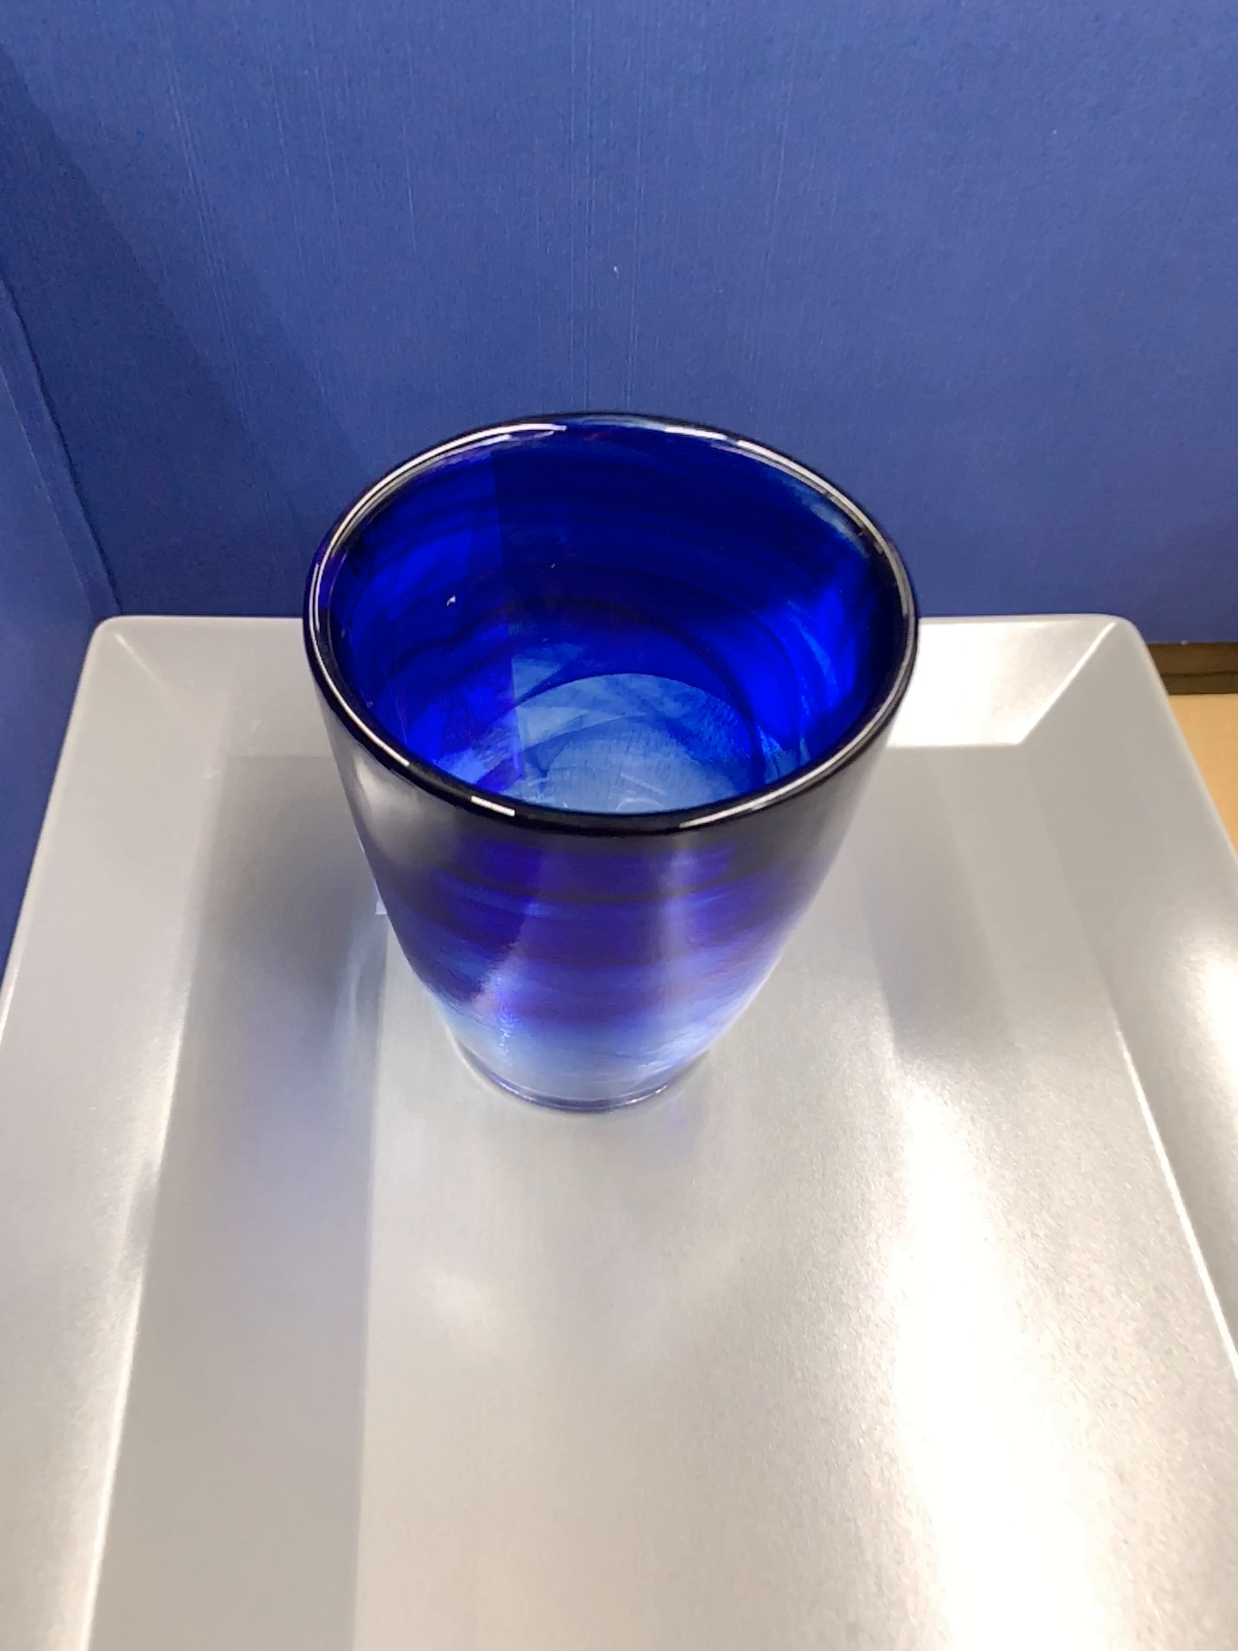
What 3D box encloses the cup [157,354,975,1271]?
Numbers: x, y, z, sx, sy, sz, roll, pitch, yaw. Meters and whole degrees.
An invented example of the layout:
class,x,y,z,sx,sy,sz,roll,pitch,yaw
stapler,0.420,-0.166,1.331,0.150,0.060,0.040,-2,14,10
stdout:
class,x,y,z,sx,sy,sz,roll,pitch,yaw
cup,-0.007,-0.001,0.229,0.082,0.111,0.088,1,49,-1
